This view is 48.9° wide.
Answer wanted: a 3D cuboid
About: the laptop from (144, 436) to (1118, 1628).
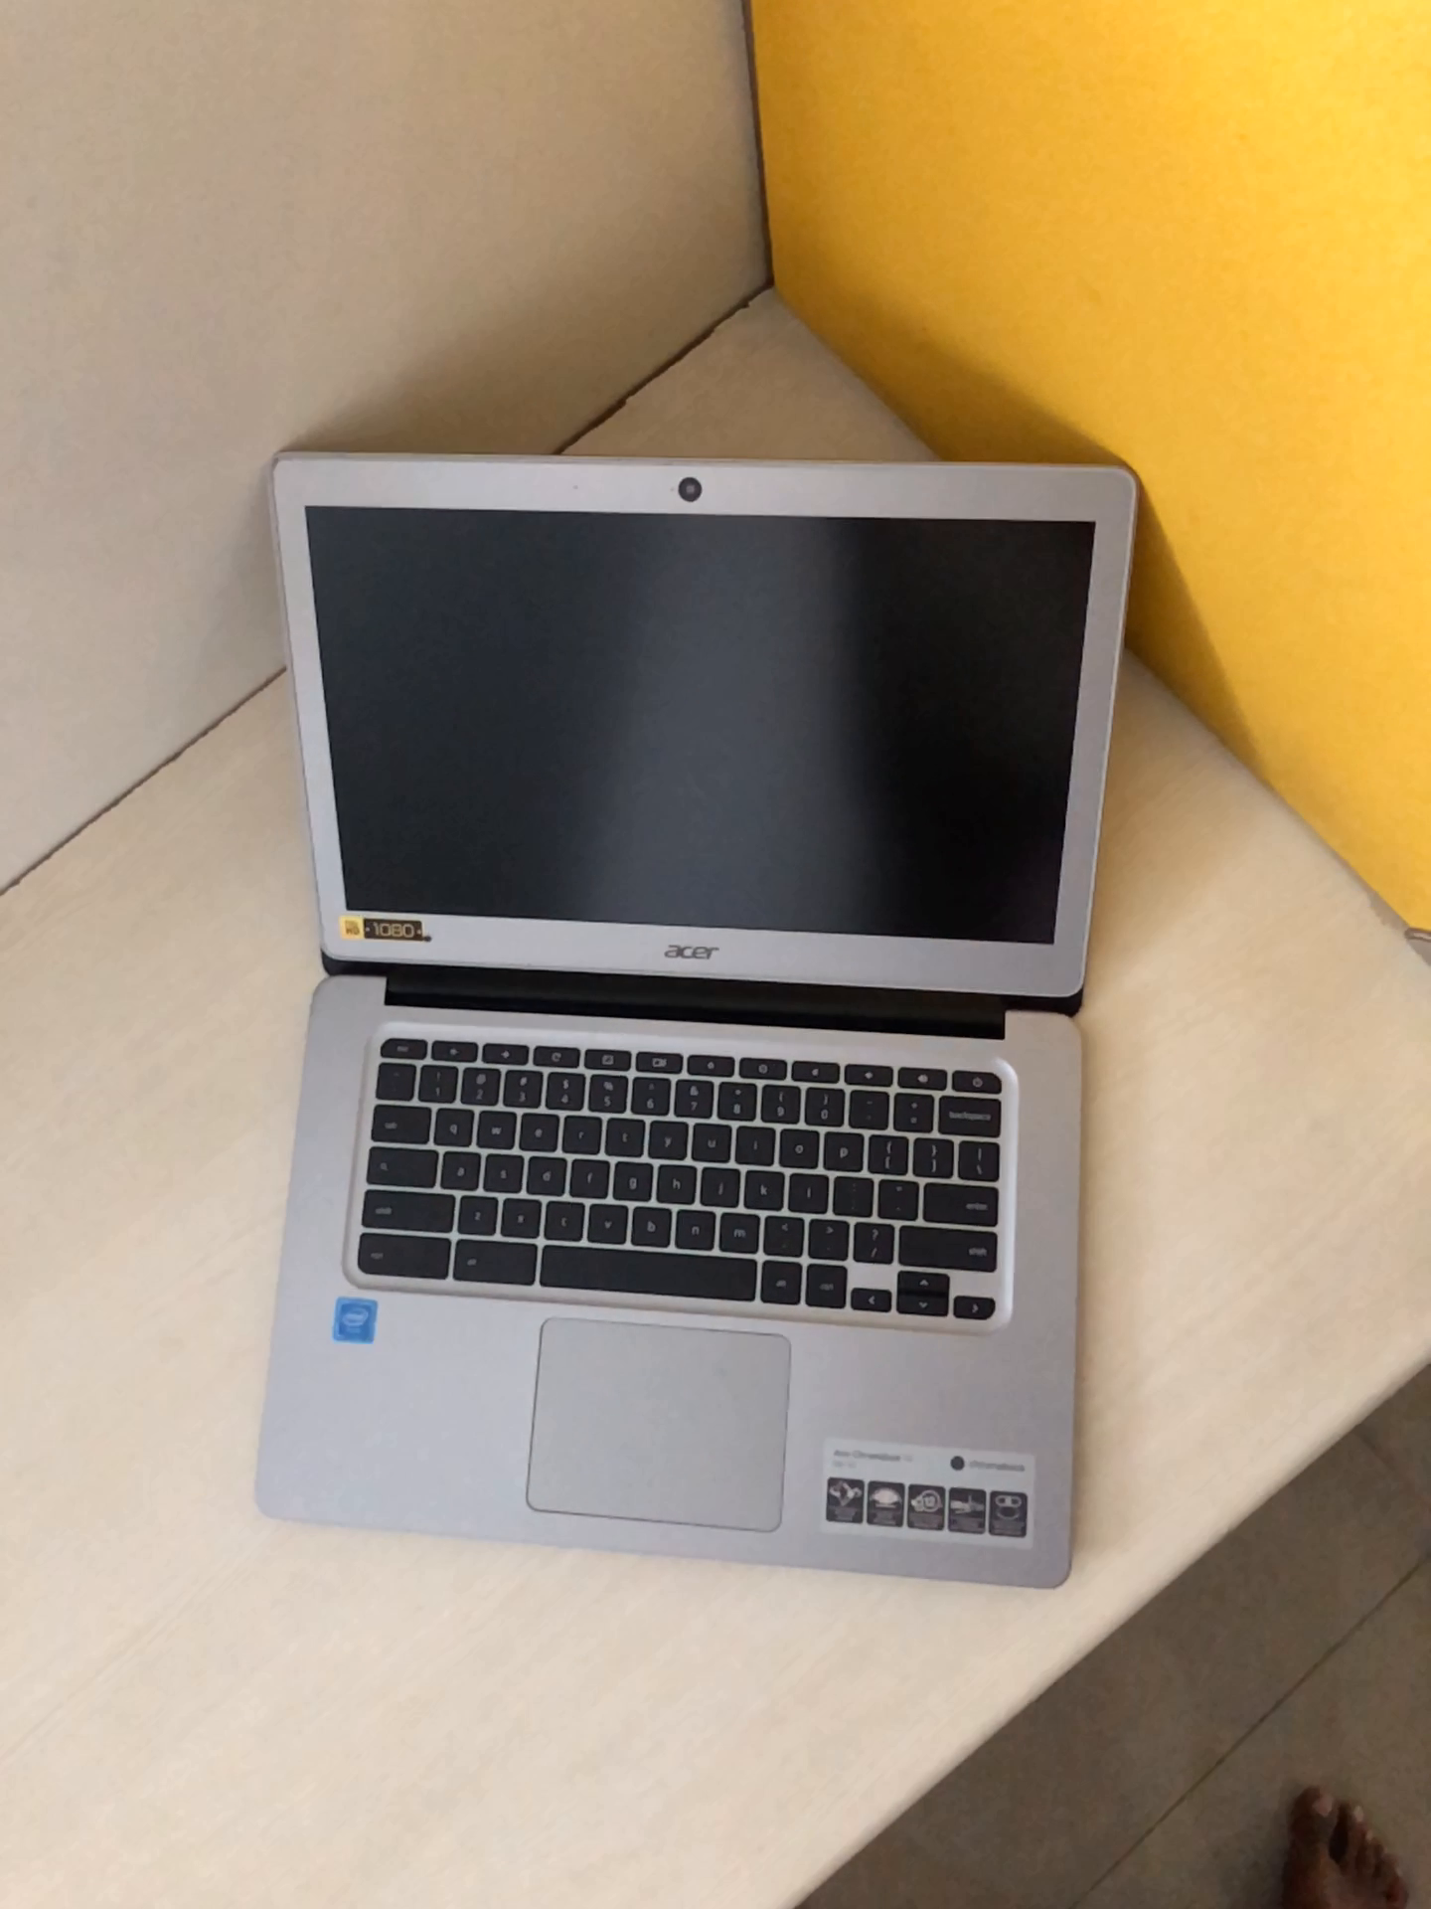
[{"bbox_3d":[-0.020,0.020,0.621,0.319,0.124,0.409,3,81,6],"label":"laptop"}]
